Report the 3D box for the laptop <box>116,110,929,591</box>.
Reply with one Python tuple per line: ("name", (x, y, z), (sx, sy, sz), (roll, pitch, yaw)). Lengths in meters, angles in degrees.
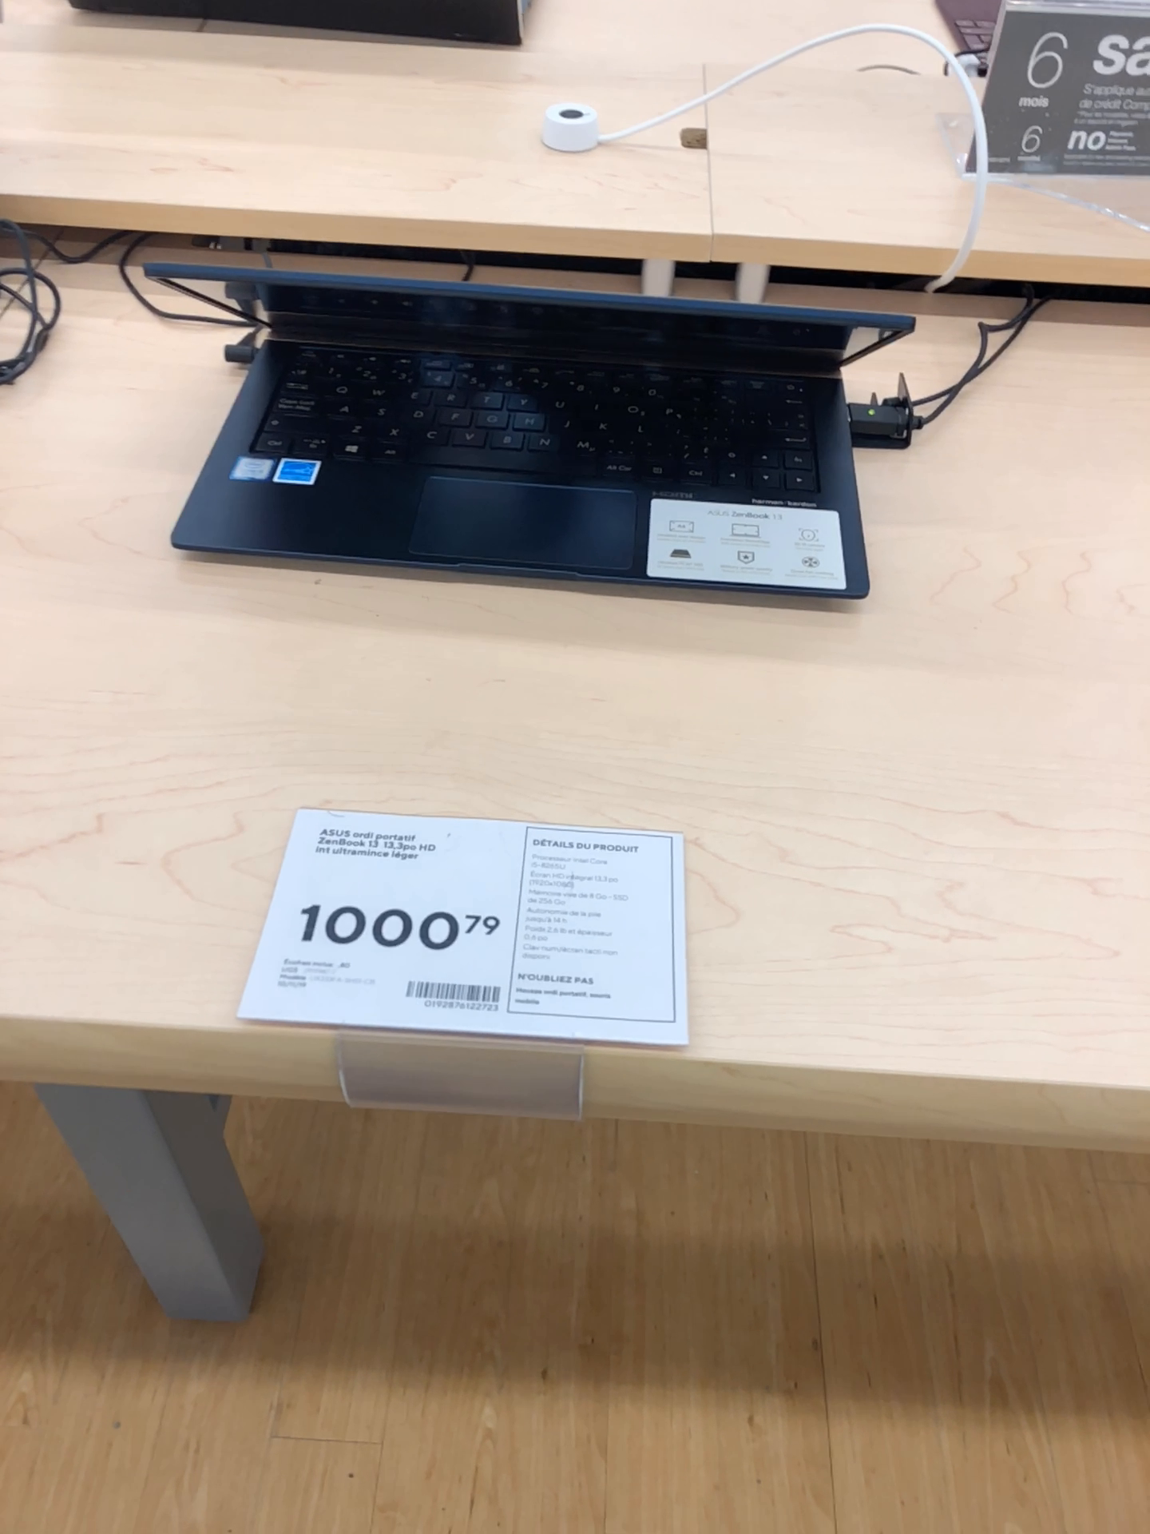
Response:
("laptop", (-0.015, -0.194, 0.568), (0.299, 0.107, 0.197), (4, 47, 1))
